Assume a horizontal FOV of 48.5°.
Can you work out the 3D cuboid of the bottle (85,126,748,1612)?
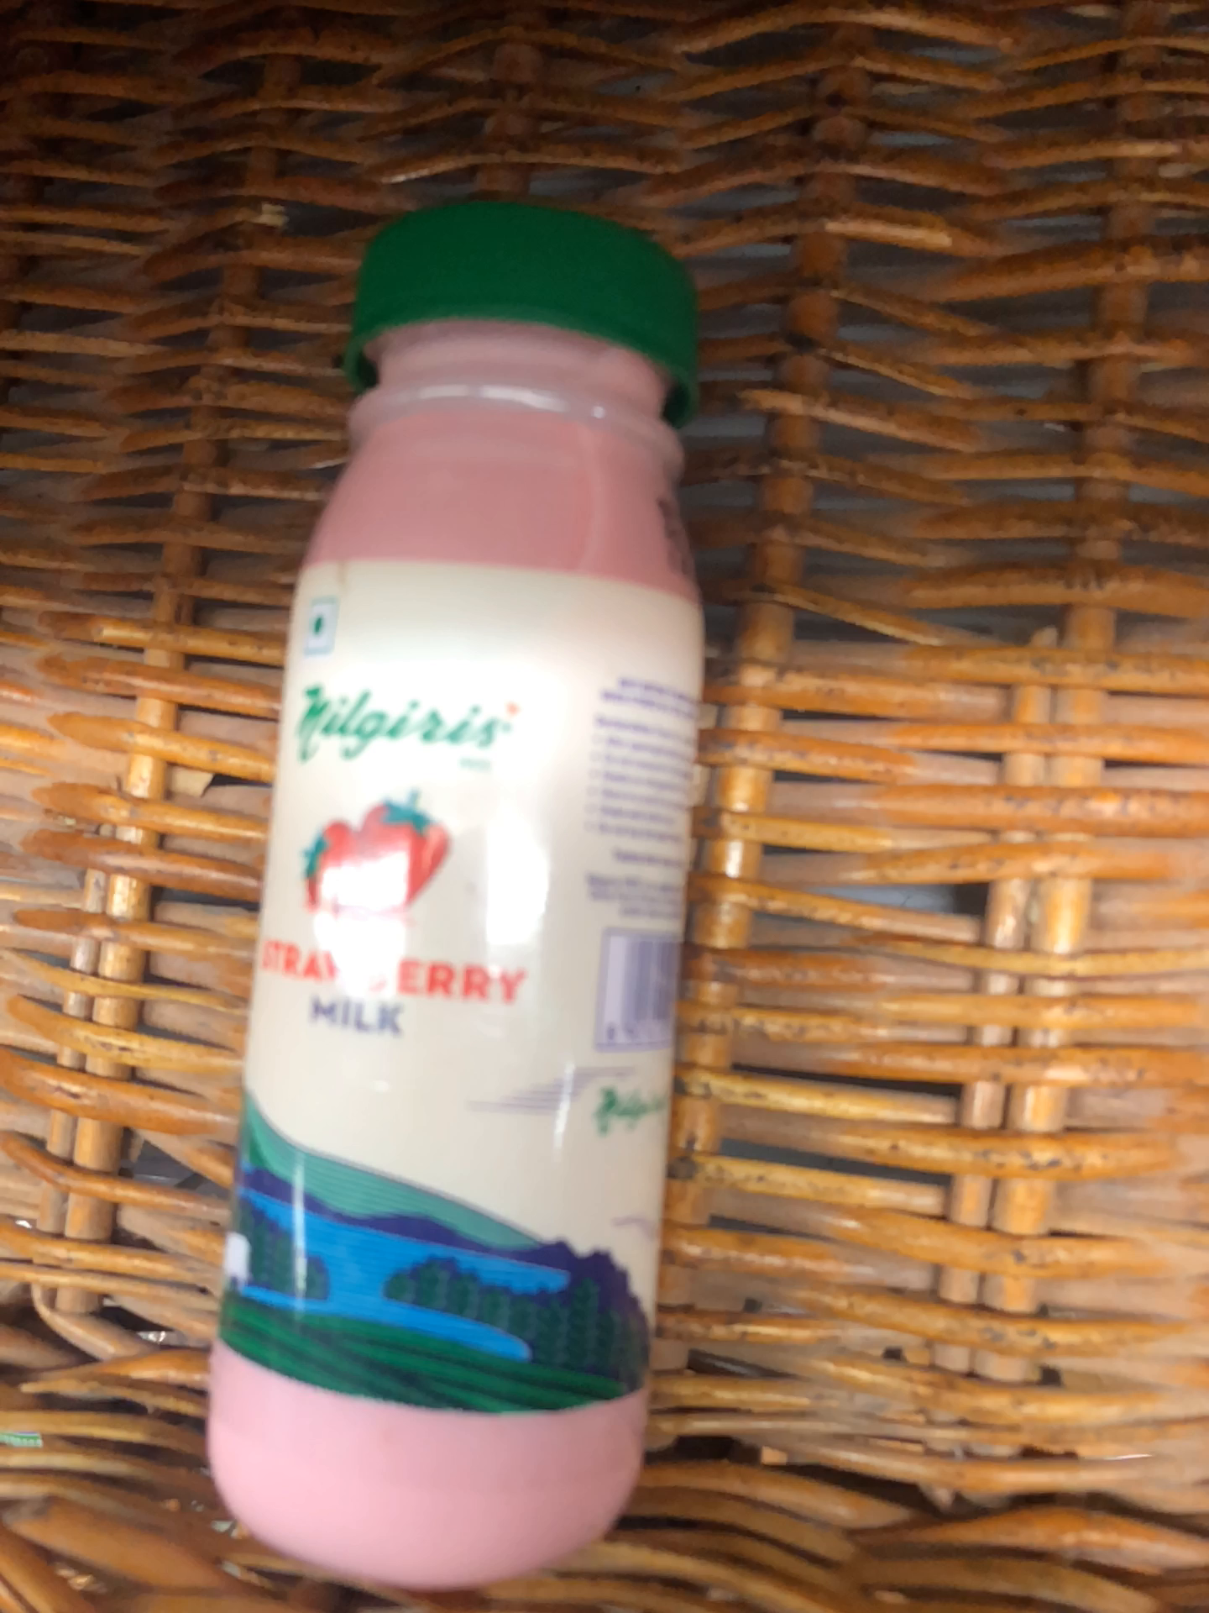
[{"bbox_3d":[-0.017,0.008,0.152,0.050,0.040,0.150,4,86,14],"label":"bottle"}]
